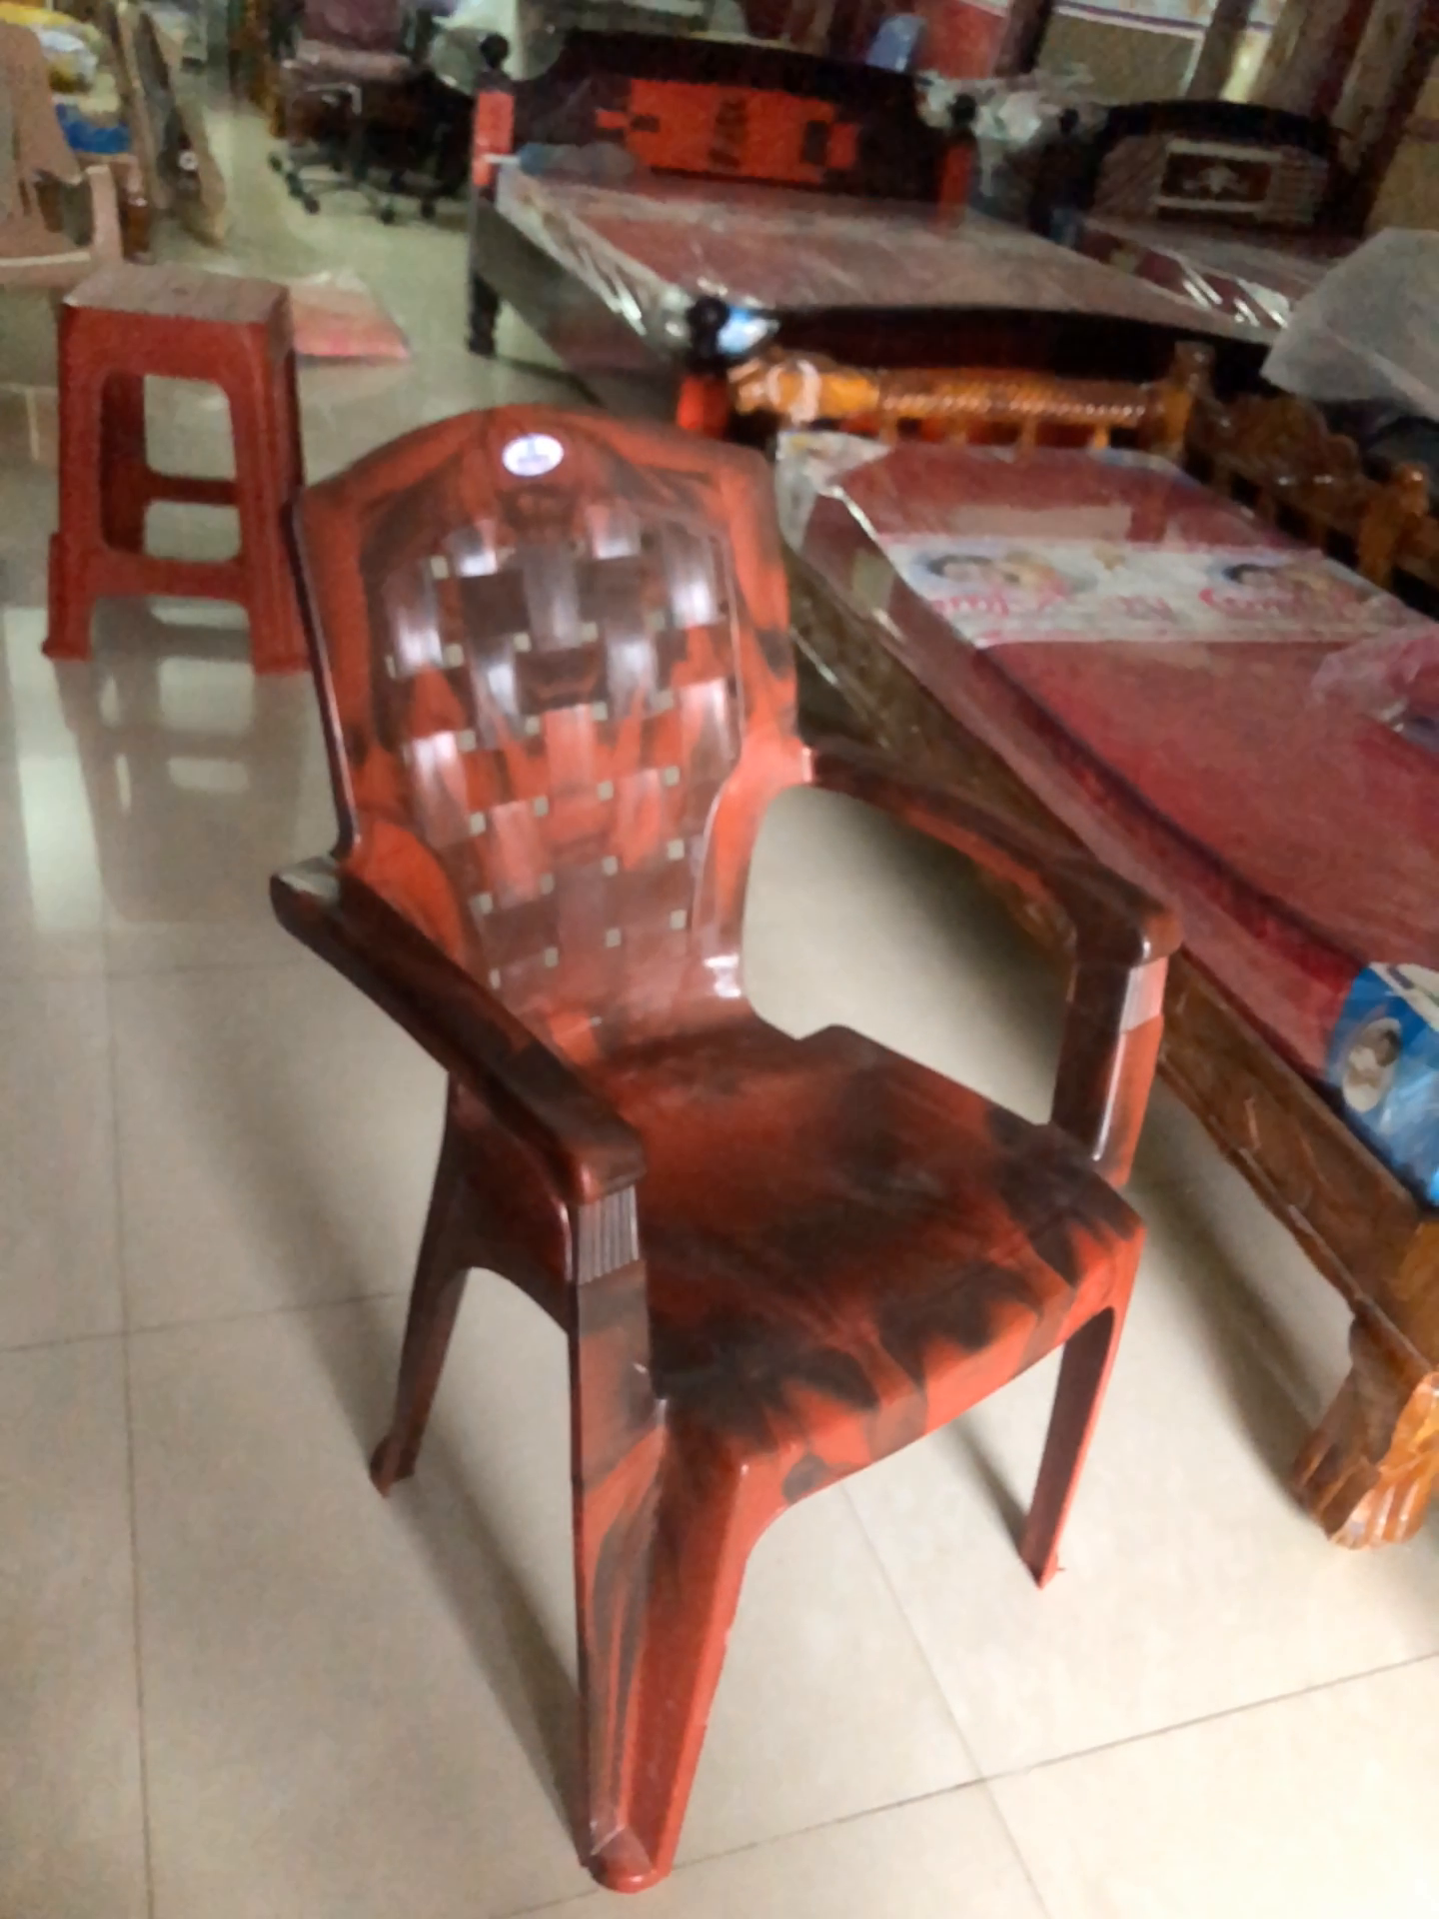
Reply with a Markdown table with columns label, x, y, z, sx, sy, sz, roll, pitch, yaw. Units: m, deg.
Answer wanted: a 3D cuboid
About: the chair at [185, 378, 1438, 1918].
| label | x | y | z | sx | sy | sz | roll | pitch | yaw |
| --- | --- | --- | --- | --- | --- | --- | --- | --- | --- |
| chair | 0.000 | 0.105 | 1.171 | 0.532 | 0.865 | 0.561 | -18 | 41 | -35 |
